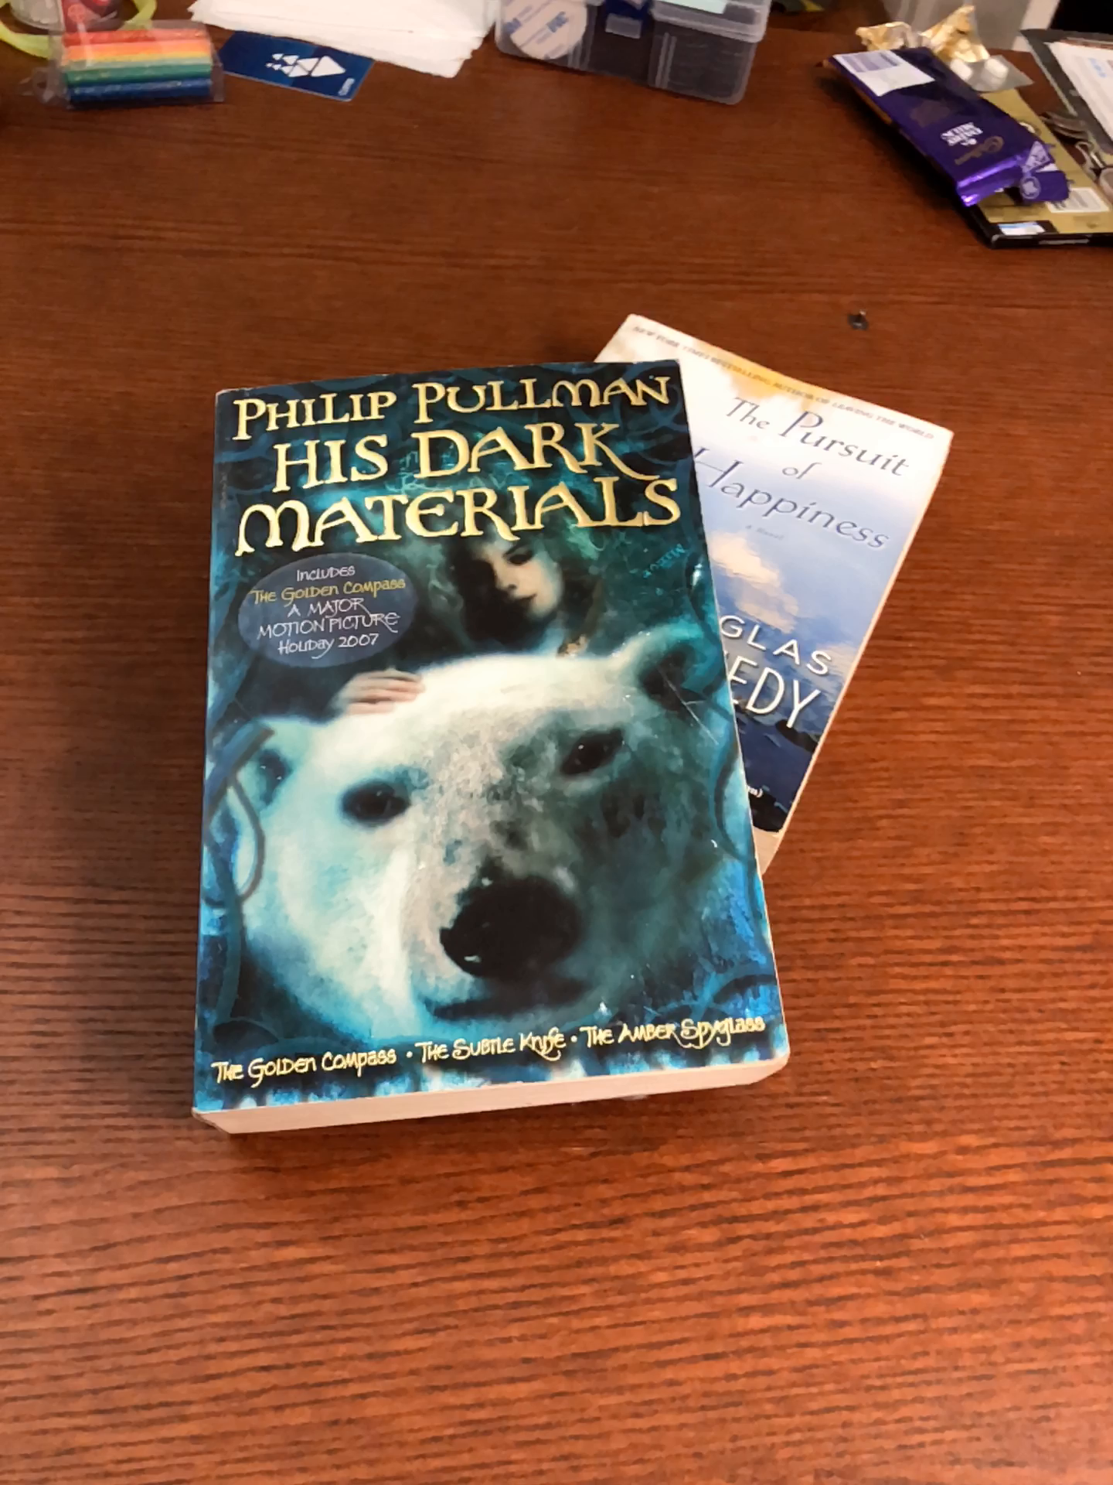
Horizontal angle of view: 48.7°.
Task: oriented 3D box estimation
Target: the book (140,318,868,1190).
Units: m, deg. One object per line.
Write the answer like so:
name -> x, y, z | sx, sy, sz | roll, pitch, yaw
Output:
book -> -0.024, -0.007, 0.362 | 0.170, 0.060, 0.241 | -4, 66, -6

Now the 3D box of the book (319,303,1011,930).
book -> 0.052, -0.067, 0.474 | 0.170, 0.040, 0.241 | 24, 56, 17
